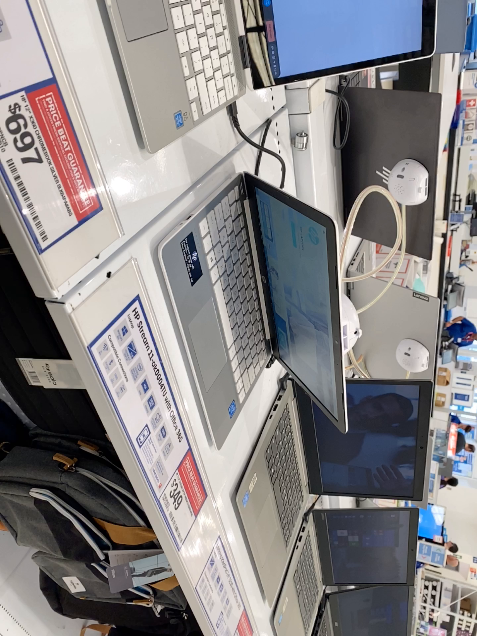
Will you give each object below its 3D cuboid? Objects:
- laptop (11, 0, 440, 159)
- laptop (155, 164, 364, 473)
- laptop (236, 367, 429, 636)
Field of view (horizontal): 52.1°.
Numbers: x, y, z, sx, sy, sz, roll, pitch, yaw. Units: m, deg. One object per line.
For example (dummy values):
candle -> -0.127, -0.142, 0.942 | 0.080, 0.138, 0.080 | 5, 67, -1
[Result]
laptop -> 0.044, -0.313, 0.398 | 0.297, 0.189, 0.258 | -57, 145, -46
laptop -> 0.048, -0.003, 0.554 | 0.181, 0.139, 0.277 | -55, 142, -45
laptop -> 0.179, 0.303, 0.809 | 0.276, 0.212, 0.327 | -57, 144, -44
